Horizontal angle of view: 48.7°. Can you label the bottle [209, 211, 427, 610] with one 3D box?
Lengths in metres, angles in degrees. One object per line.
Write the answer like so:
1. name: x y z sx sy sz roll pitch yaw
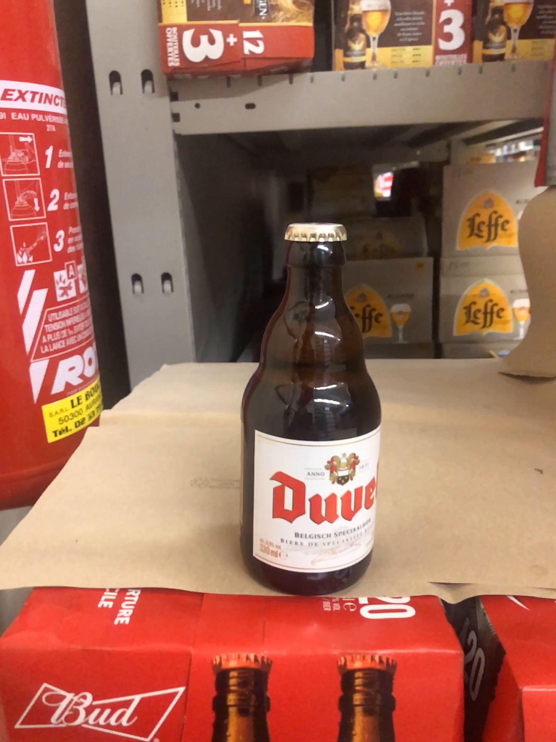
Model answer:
1. bottle: 0.018 0.013 0.297 0.080 0.169 0.070 -7 16 -13
